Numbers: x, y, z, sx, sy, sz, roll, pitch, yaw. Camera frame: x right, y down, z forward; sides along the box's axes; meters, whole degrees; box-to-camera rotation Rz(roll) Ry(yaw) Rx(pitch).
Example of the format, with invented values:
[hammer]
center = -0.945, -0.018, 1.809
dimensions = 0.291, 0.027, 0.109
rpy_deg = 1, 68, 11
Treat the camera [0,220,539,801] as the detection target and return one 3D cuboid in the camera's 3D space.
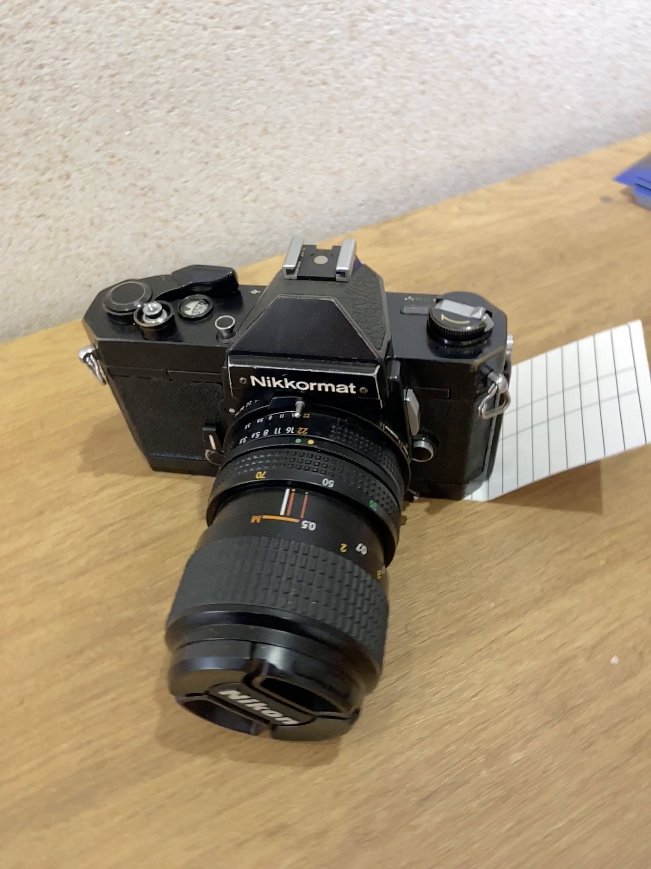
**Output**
[camera]
center = -0.022, 0.011, 0.218
dimensions = 0.160, 0.090, 0.141
rpy_deg = 6, 48, 12
